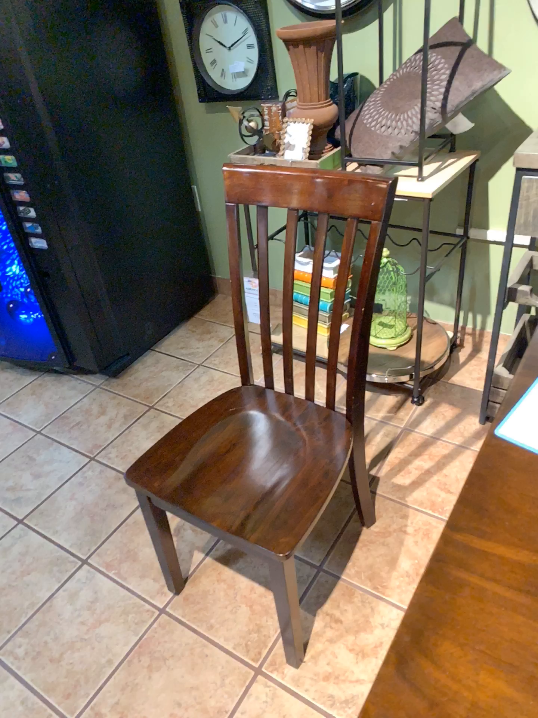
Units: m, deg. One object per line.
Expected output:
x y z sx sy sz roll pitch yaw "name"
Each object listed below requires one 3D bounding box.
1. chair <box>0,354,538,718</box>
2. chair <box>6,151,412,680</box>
0.324 0.581 0.496 0.462 0.946 0.576 11 39 25 "chair"
-0.023 0.110 1.231 0.462 0.936 0.586 15 42 30 "chair"
